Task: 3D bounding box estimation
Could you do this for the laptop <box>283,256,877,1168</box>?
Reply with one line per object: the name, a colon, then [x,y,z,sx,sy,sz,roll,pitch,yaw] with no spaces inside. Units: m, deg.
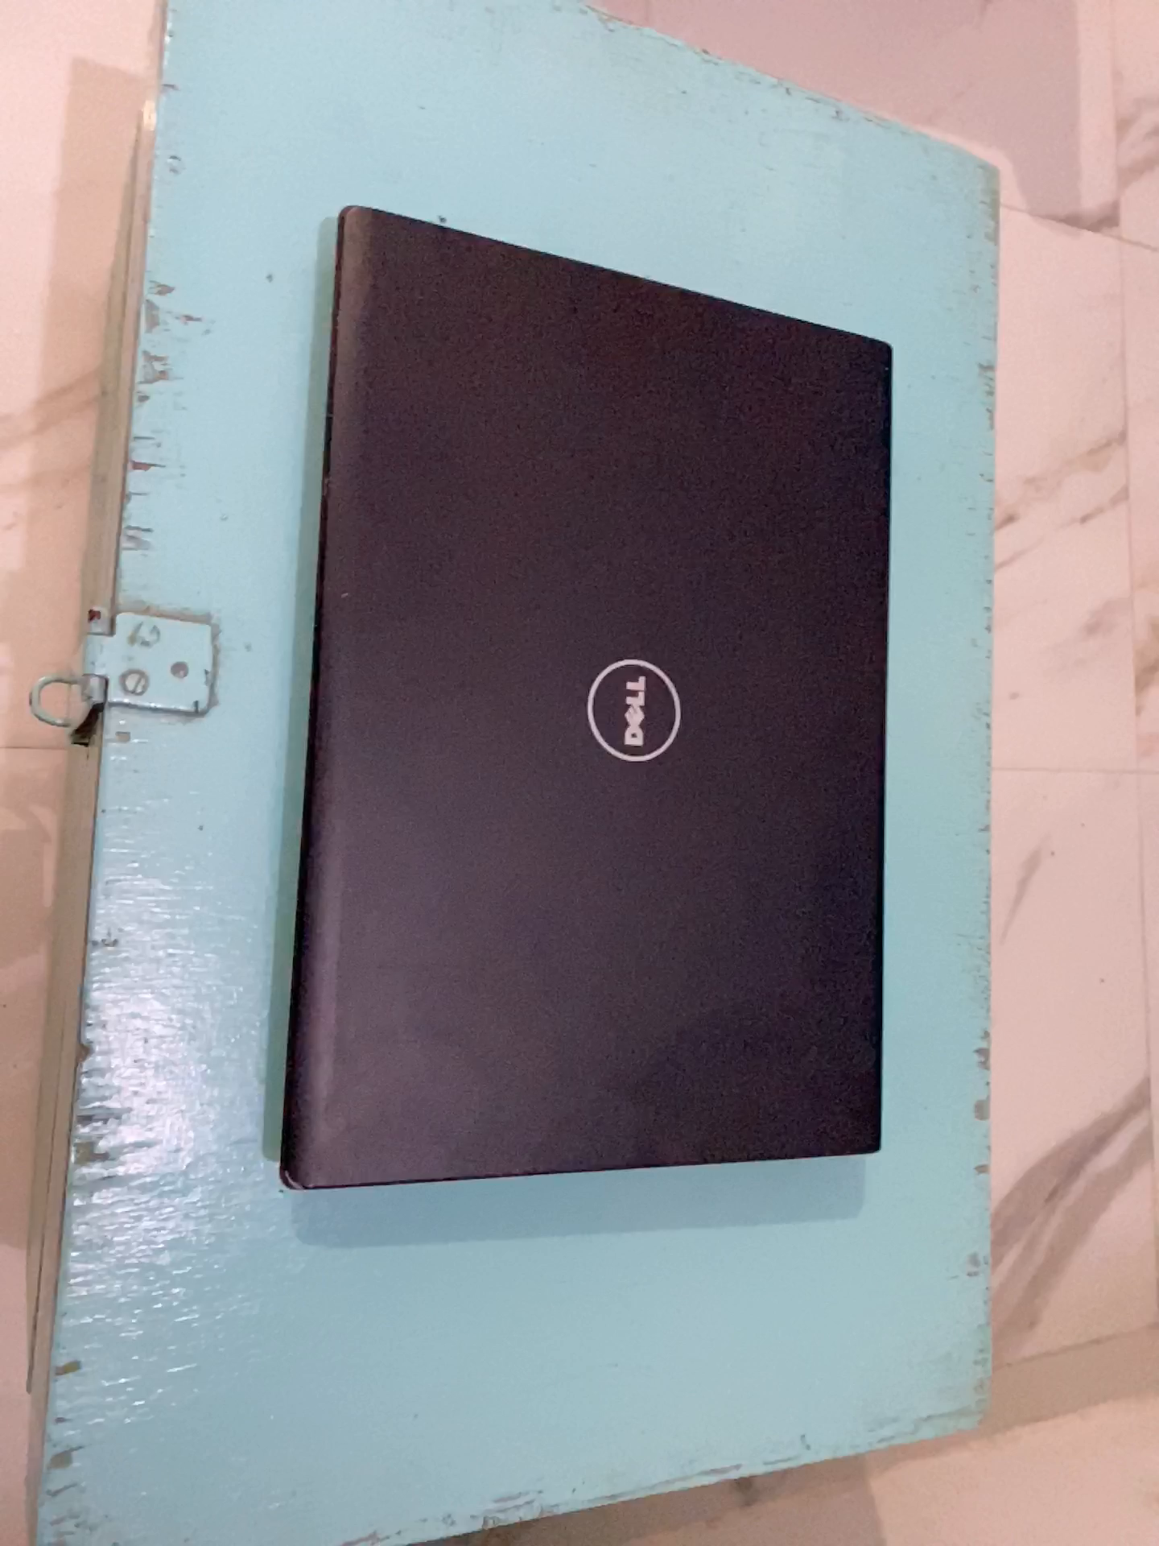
laptop: [0.018,-0.024,0.543,0.269,0.004,0.384,6,83,-22]
